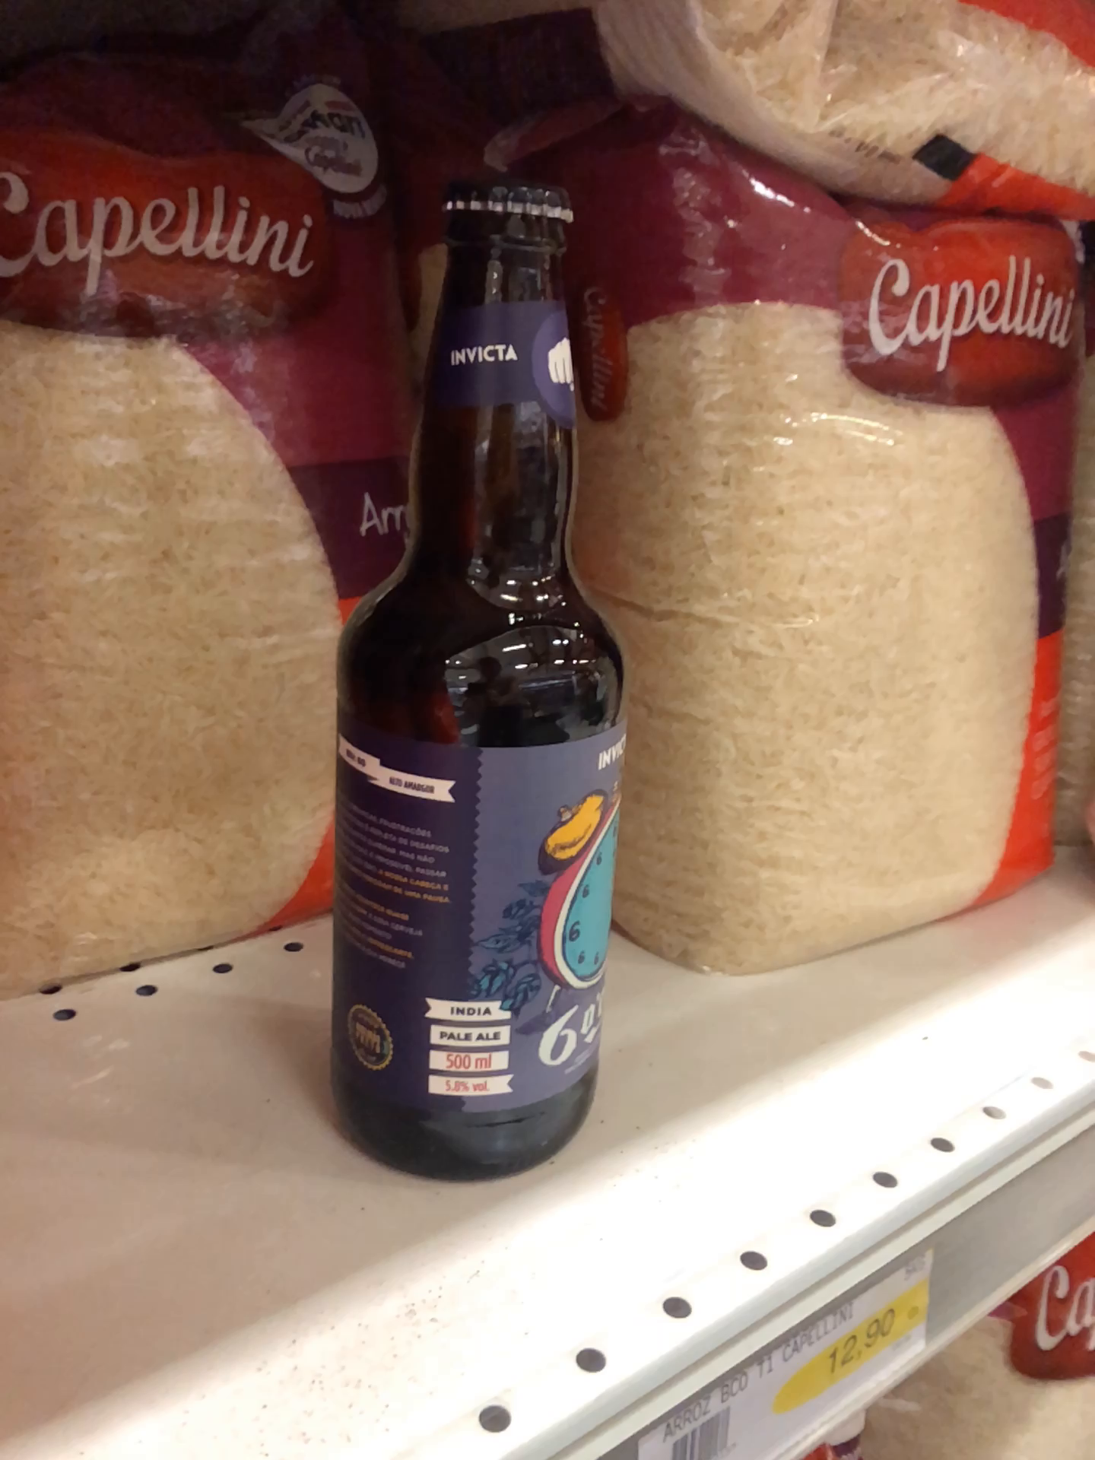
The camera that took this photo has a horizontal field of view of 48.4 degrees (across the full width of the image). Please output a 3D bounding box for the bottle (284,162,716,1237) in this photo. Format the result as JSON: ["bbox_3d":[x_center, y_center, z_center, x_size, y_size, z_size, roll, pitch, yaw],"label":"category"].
[{"bbox_3d":[-0.014,-0.005,0.291,0.070,0.229,0.070,4,19,-1],"label":"bottle"}]
